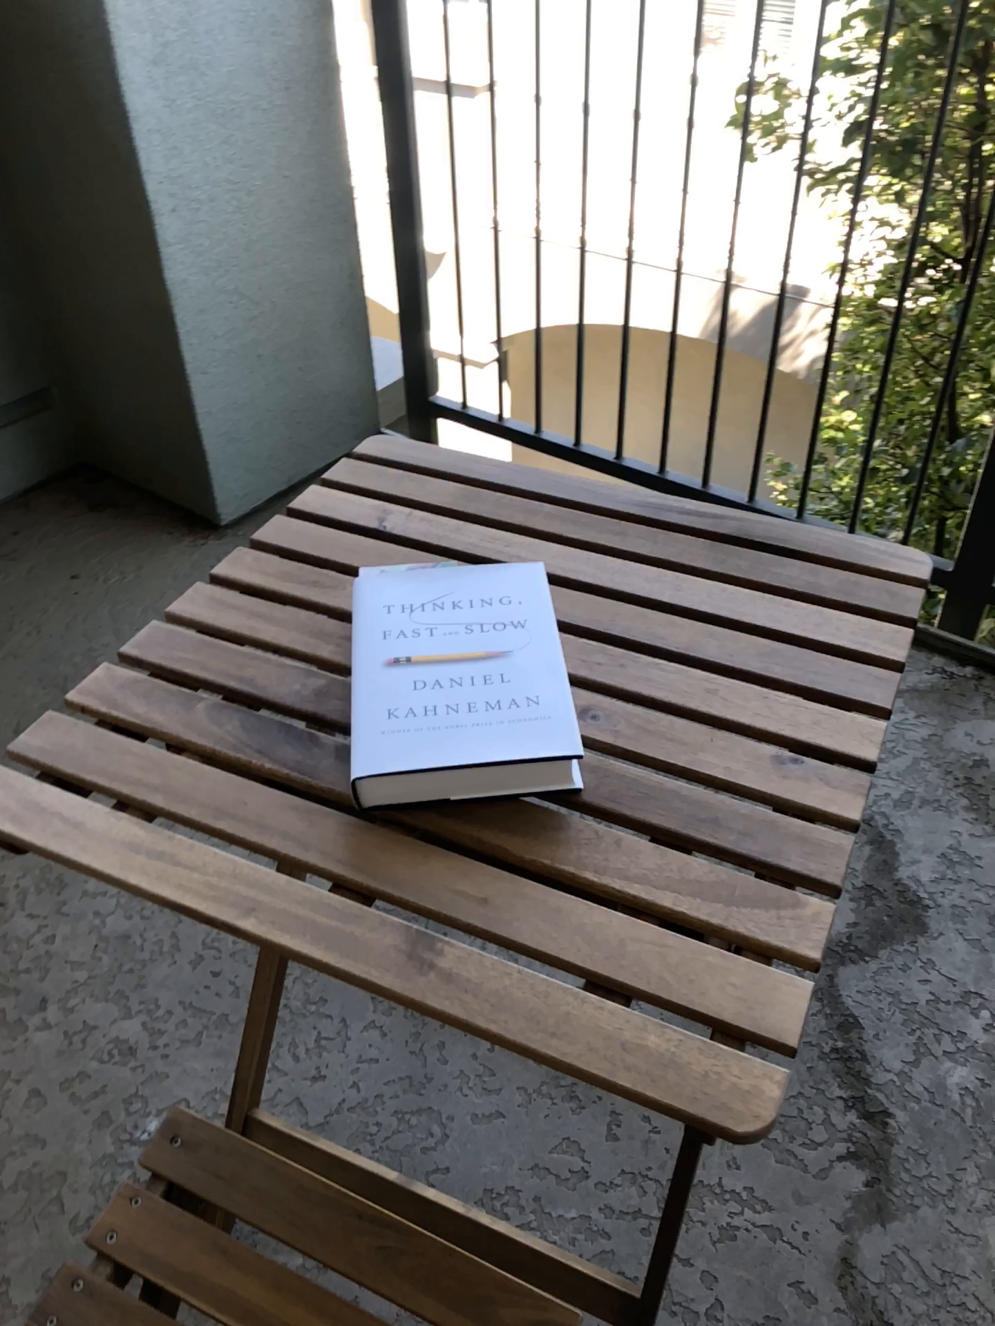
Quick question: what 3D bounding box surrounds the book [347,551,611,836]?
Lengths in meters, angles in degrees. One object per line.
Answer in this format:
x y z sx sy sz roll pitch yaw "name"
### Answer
-0.024 0.013 0.863 0.180 0.050 0.261 -5 40 -3 "book"
